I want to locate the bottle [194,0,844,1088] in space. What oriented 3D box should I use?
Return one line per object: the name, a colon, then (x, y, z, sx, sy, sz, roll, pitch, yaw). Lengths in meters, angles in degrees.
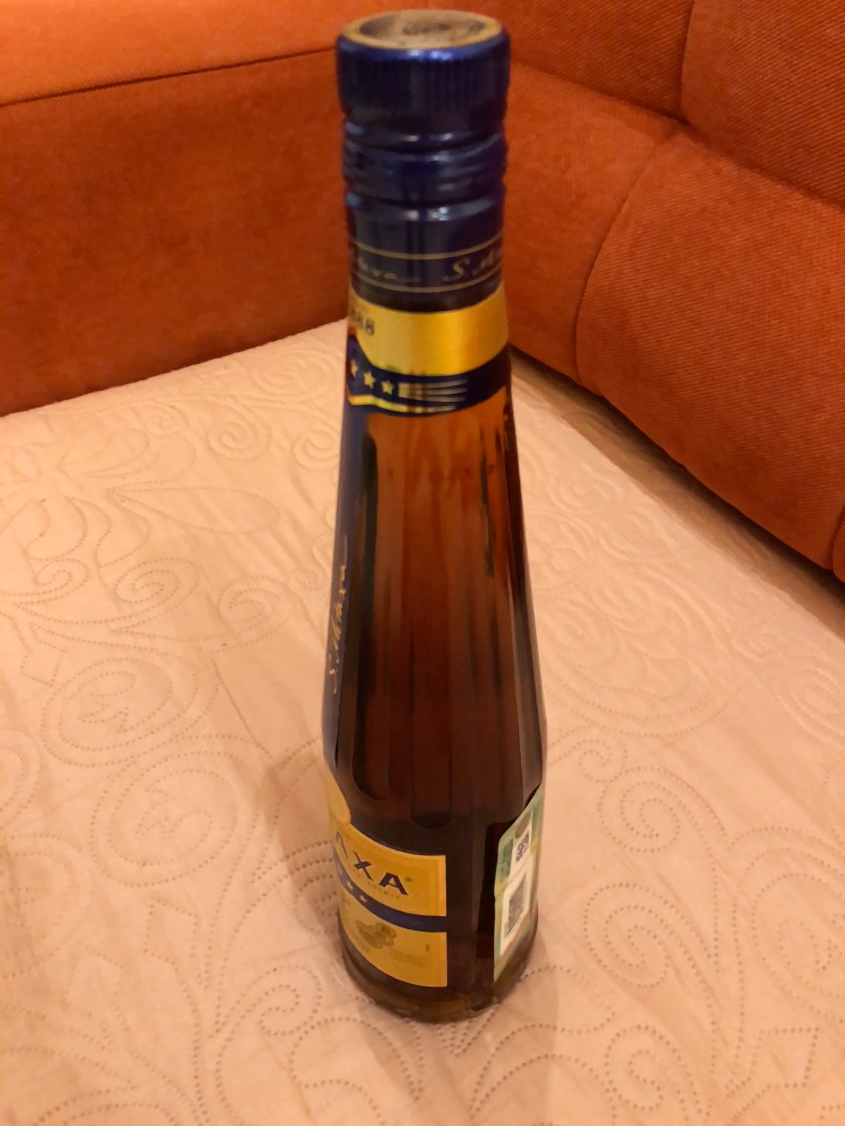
bottle: (0.012, 0.030, 0.258, 0.090, 0.308, 0.101, -12, 47, -14)
